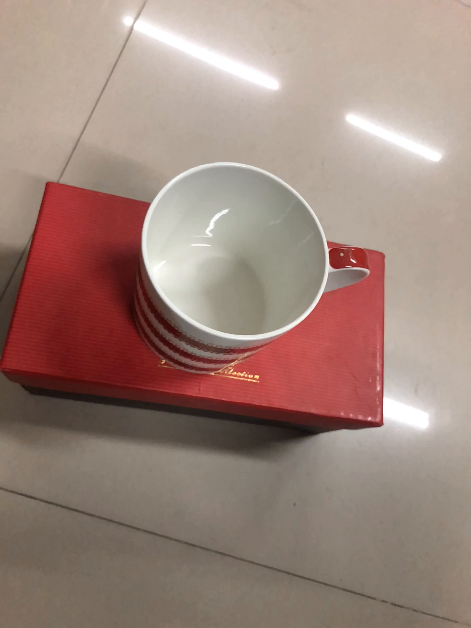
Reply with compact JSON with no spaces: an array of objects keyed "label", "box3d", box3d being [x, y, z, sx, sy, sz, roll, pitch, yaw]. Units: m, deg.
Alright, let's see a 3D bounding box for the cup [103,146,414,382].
[{"label":"cup","box3d":[0.001,-0.014,0.270,0.130,0.100,0.080,3,73,-14]}]
